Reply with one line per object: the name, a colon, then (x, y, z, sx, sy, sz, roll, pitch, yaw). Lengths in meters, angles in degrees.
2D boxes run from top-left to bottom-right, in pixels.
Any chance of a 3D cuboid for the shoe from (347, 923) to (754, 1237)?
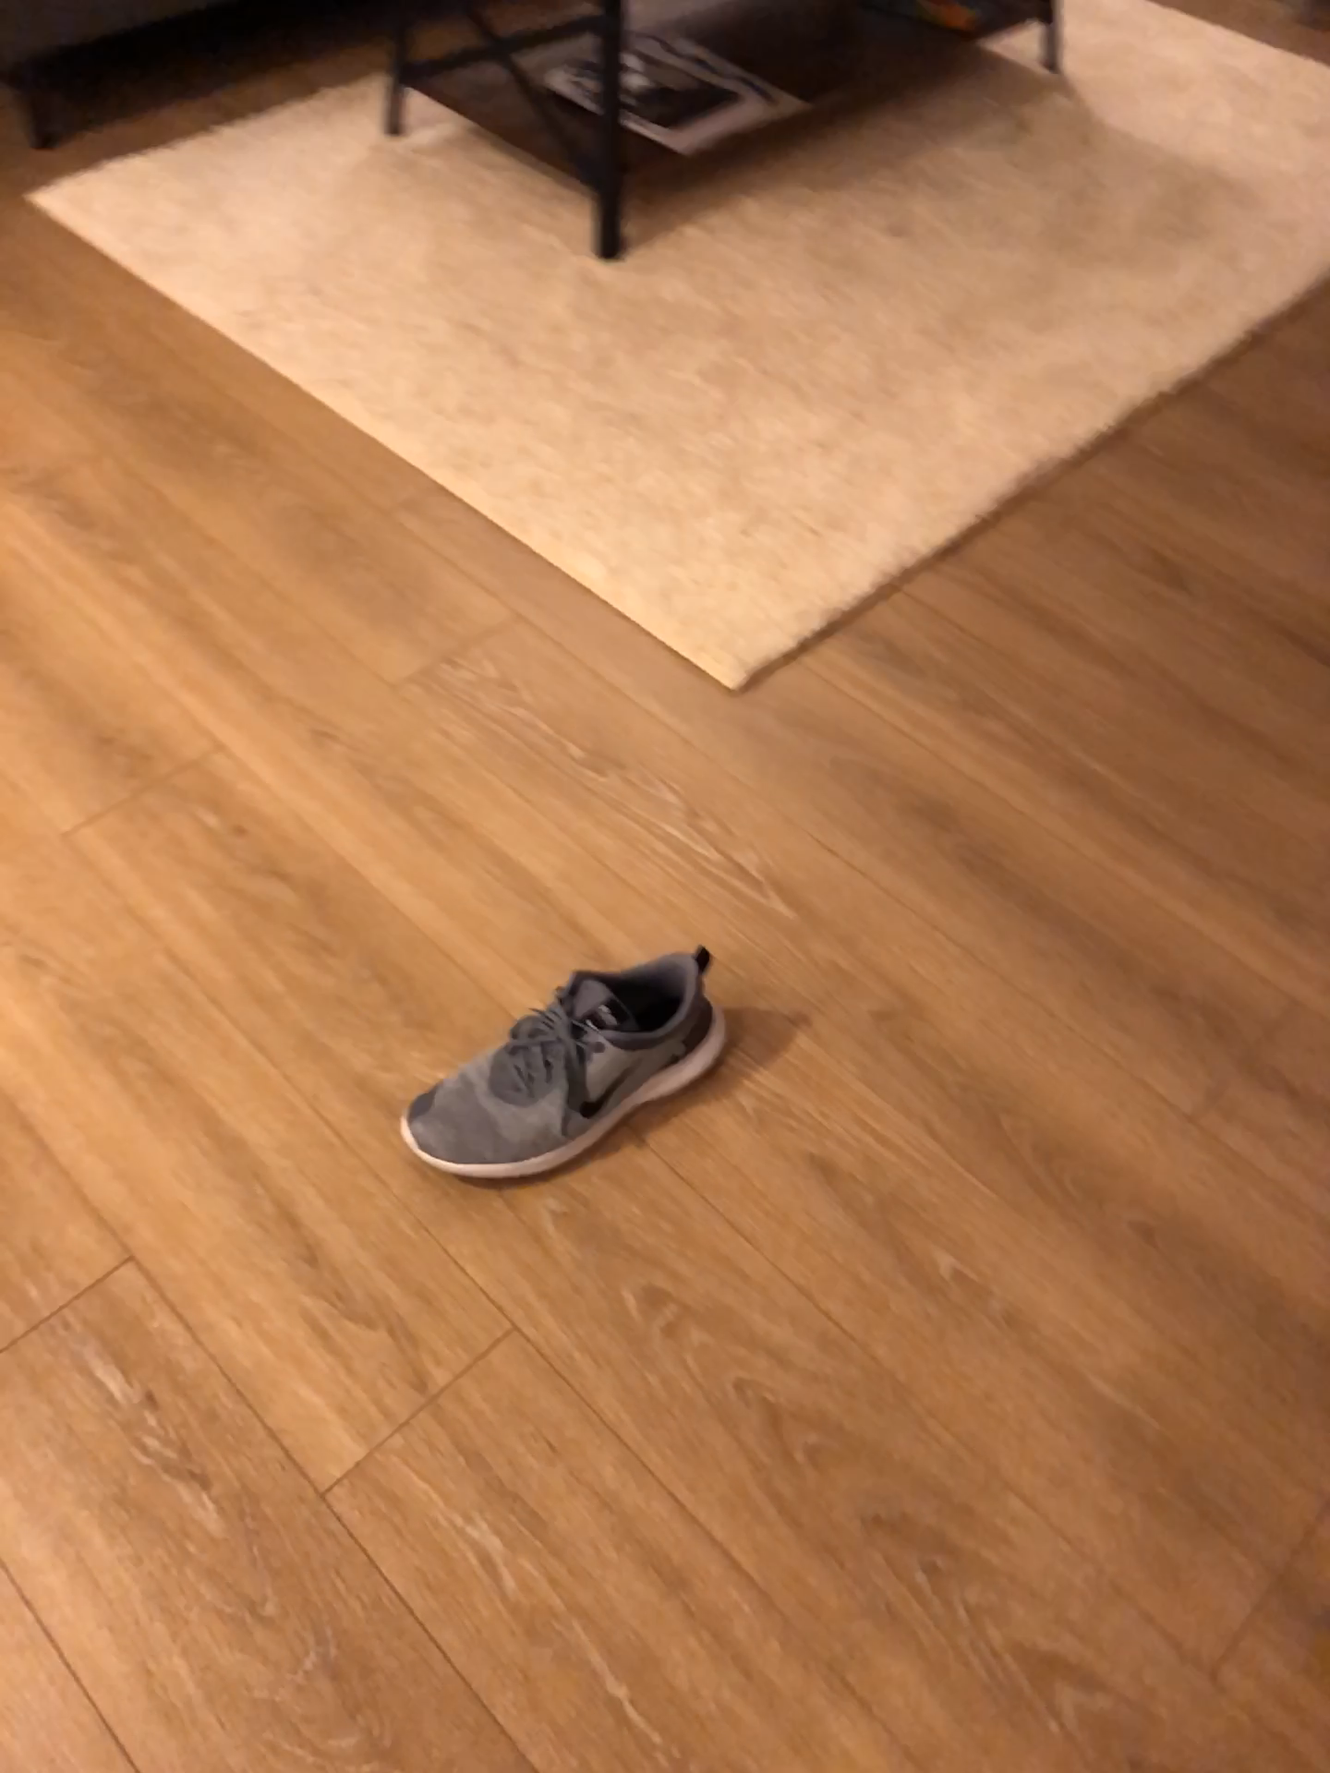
shoe: (-0.095, 0.157, 1.224, 0.300, 0.090, 0.140, -19, 54, -18)
